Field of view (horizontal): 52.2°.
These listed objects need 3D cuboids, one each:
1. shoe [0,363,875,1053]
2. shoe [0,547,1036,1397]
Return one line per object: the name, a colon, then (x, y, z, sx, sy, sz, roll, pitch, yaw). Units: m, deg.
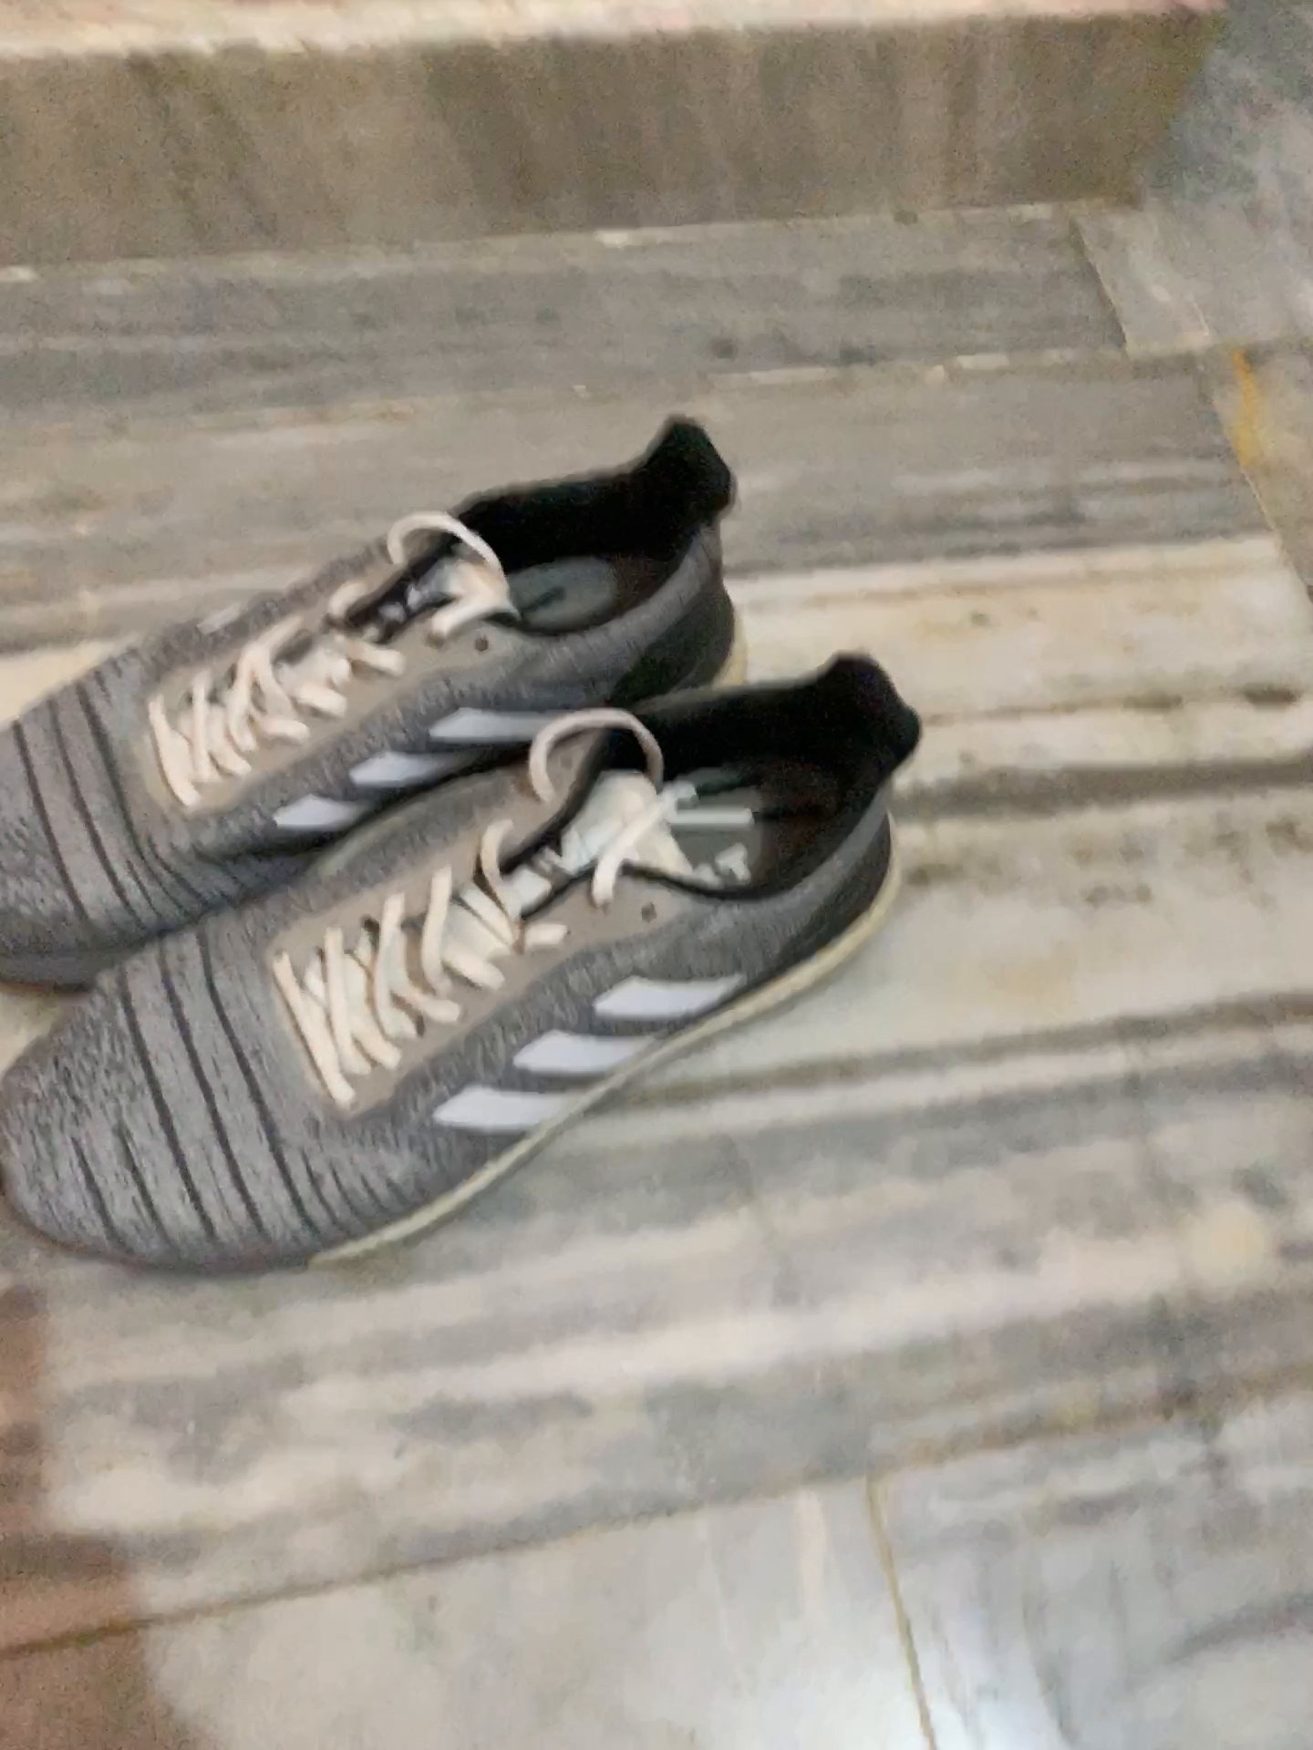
shoe: (-0.095, -0.063, 0.447, 0.309, 0.080, 0.110, -22, 66, -16)
shoe: (-0.051, 0.021, 0.413, 0.299, 0.090, 0.120, -25, 67, -18)
